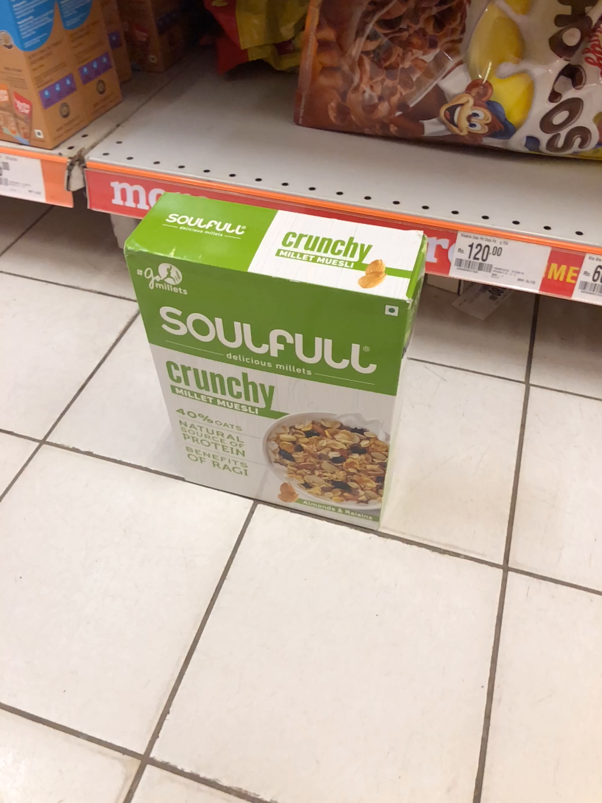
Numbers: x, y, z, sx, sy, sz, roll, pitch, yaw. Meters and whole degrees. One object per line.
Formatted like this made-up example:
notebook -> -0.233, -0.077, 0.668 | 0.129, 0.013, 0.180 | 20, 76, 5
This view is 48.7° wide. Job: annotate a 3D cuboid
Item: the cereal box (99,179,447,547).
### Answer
cereal box -> -0.013, -0.013, 0.449 | 0.180, 0.239, 0.060 | 12, 49, 12
